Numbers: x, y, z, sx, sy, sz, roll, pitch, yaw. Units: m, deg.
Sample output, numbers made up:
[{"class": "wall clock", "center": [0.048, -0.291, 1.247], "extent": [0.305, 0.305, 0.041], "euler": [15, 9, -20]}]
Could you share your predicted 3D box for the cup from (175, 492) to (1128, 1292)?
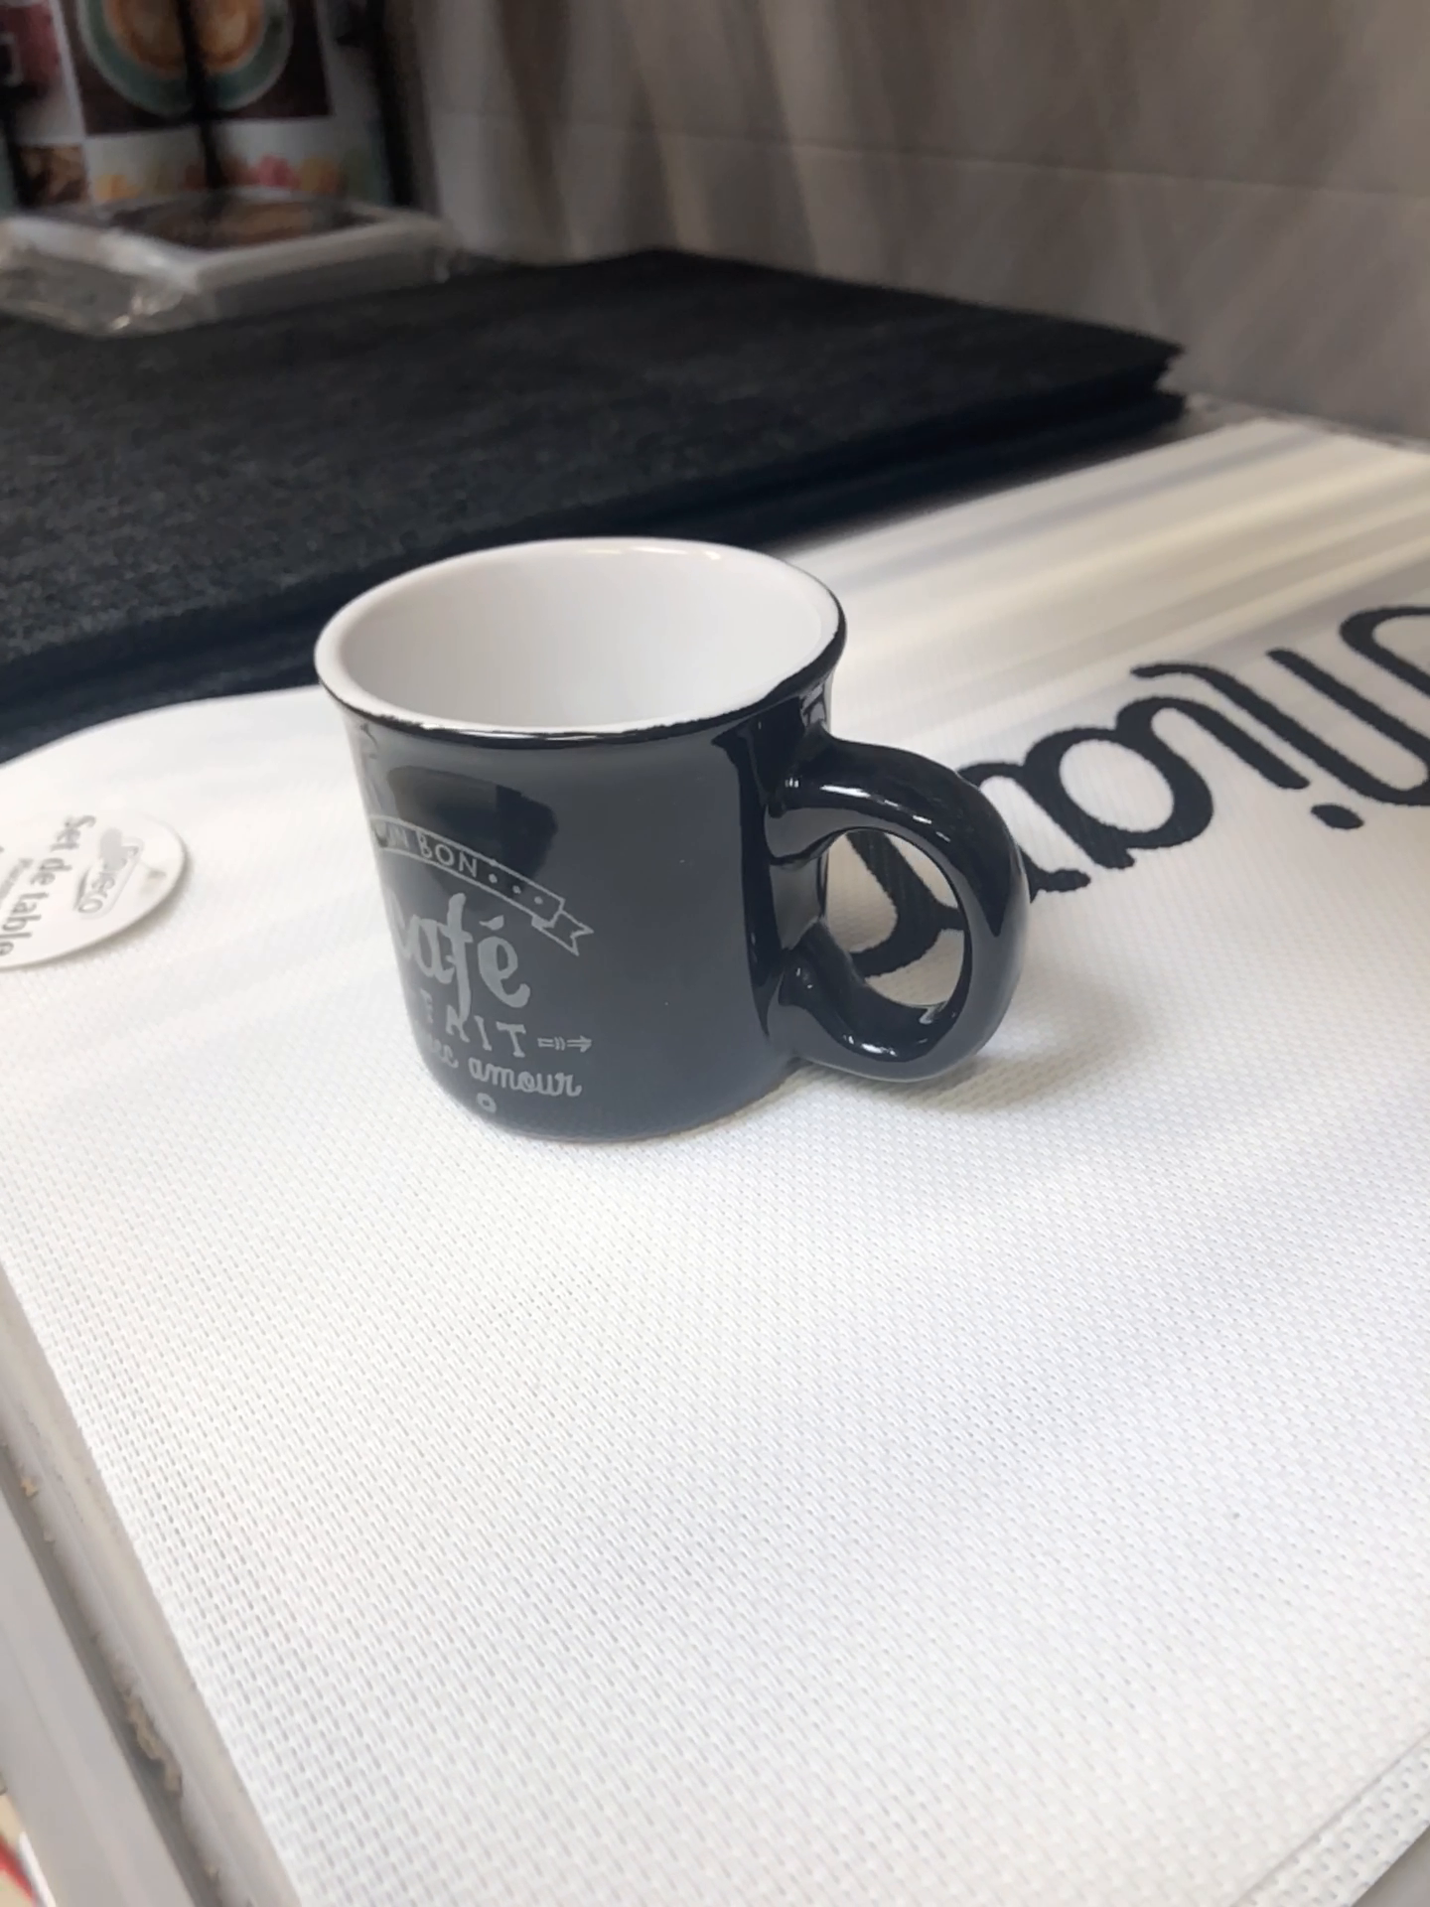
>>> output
[{"class": "cup", "center": [-0.006, -0.017, 0.226], "extent": [0.100, 0.064, 0.075], "euler": [17, 38, 29]}]
